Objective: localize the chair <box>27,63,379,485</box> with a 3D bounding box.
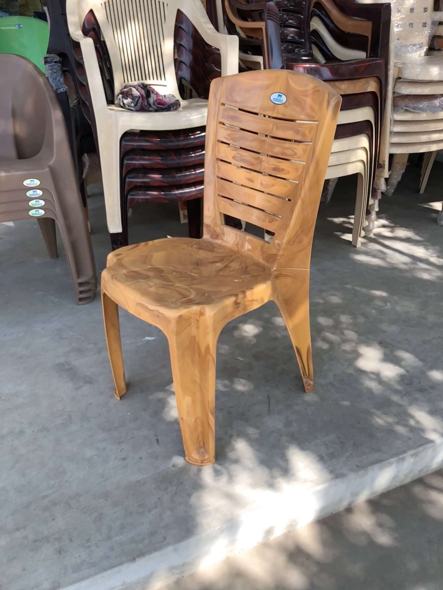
[{"bbox_3d":[-0.028,-0.109,1.238,0.501,0.816,0.562,25,39,37],"label":"chair"}]
